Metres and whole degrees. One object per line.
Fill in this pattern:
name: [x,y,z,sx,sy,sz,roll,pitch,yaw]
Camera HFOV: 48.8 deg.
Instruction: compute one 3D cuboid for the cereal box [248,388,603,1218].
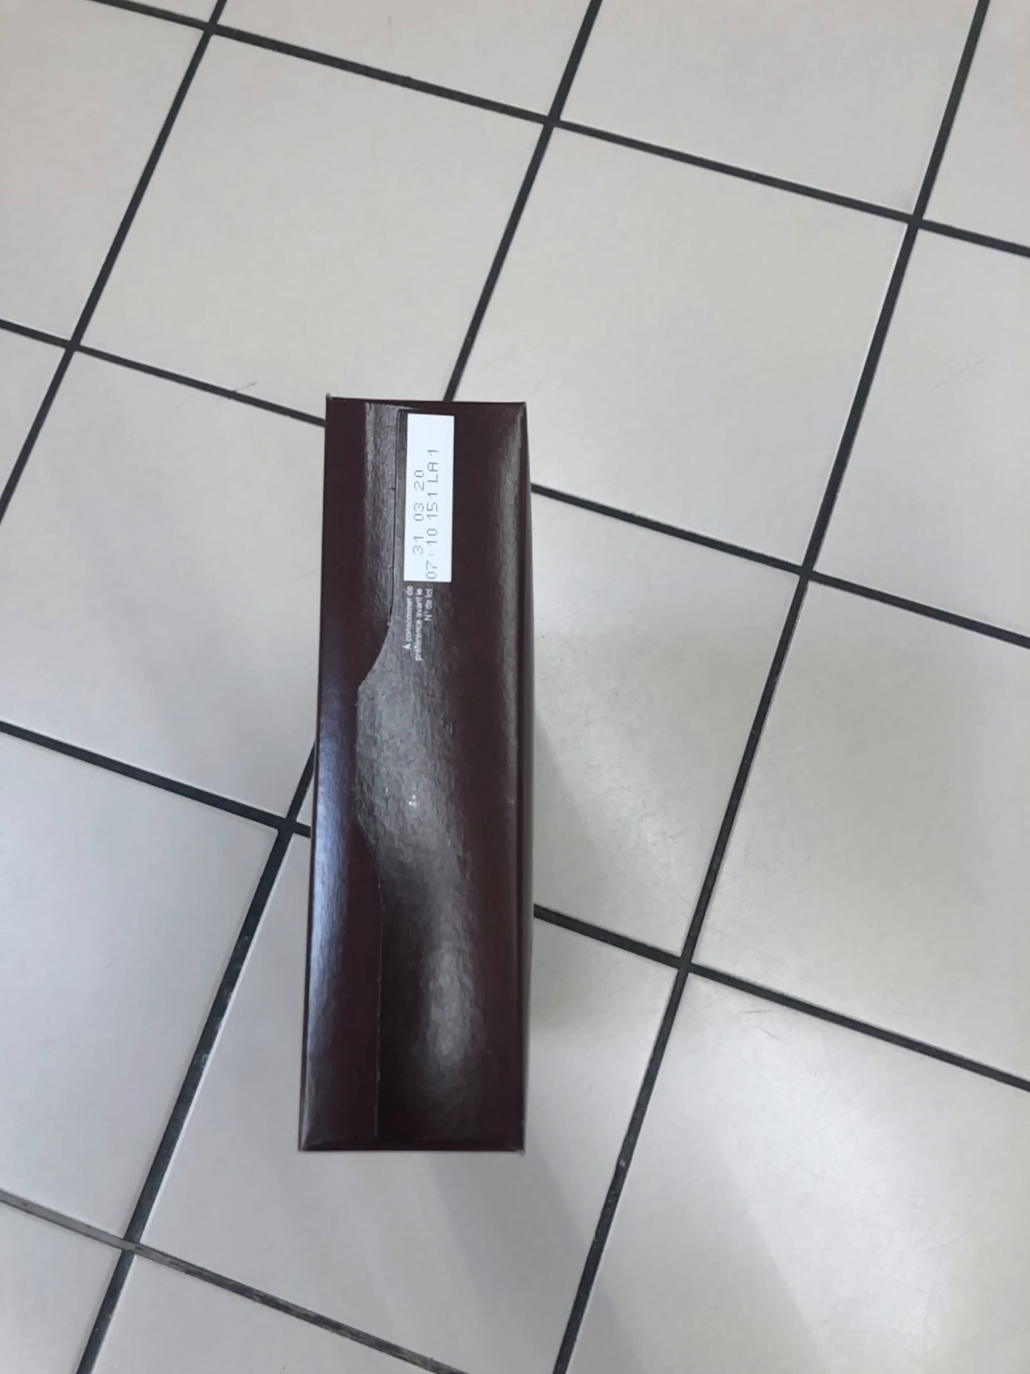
cereal box: [-0.022,0.046,0.408,0.080,0.270,0.200,-1,79,-1]
